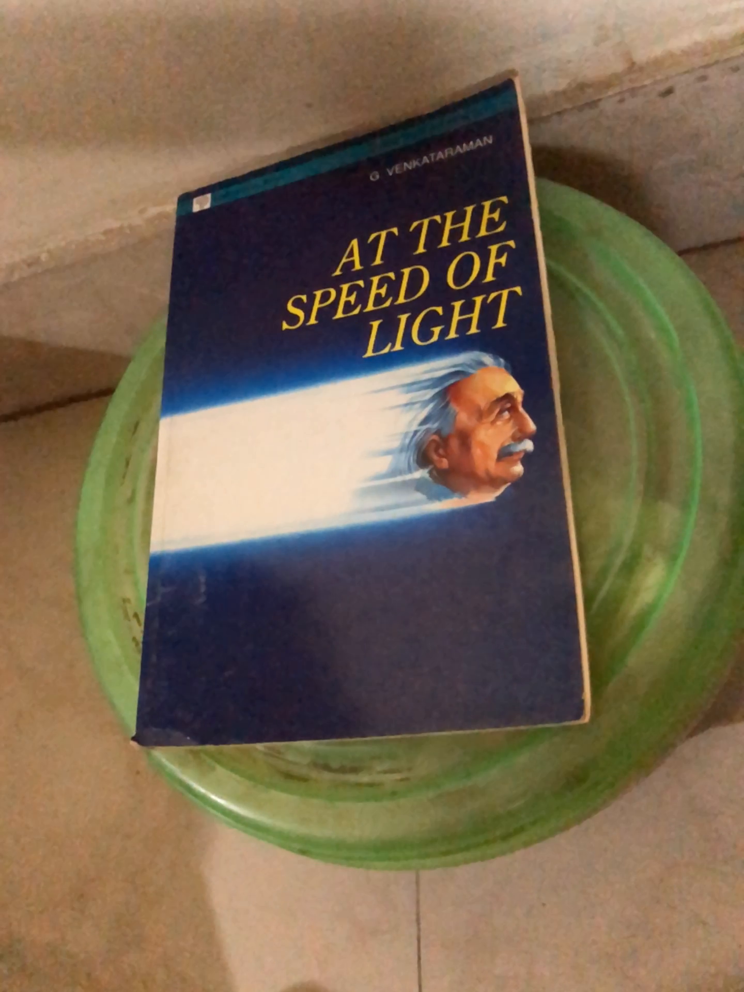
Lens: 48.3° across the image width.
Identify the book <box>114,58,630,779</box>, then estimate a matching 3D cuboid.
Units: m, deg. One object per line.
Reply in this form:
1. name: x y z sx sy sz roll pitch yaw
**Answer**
1. book: -0.009 -0.031 0.280 0.150 0.020 0.230 -11 66 20
